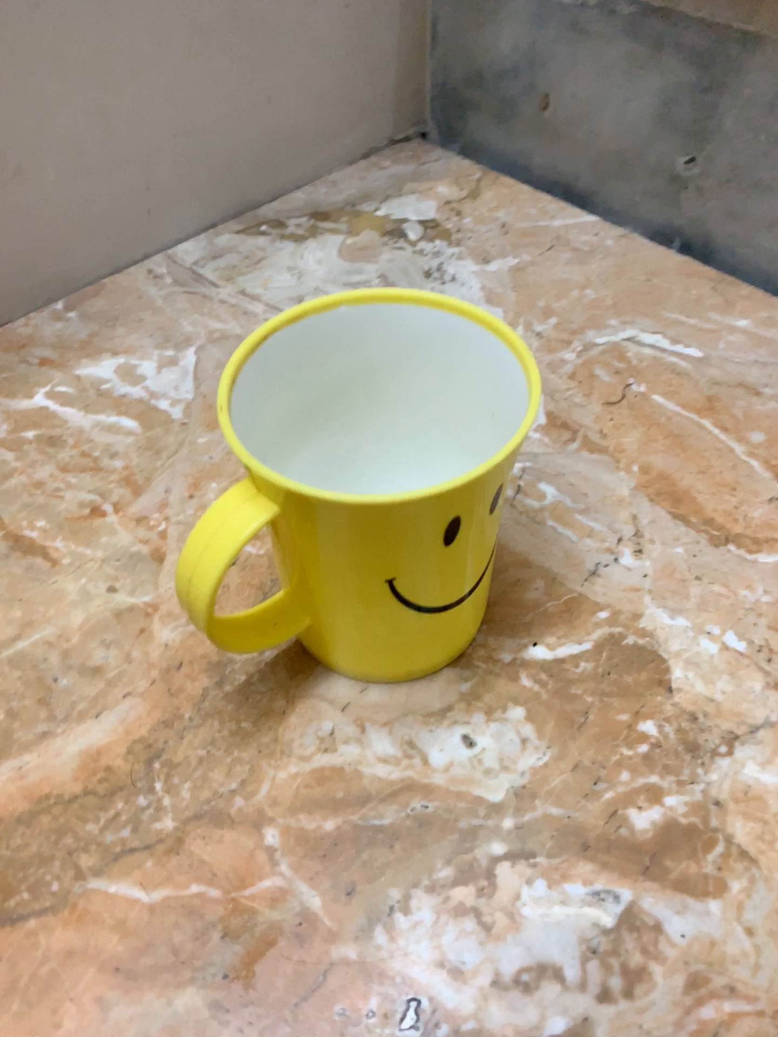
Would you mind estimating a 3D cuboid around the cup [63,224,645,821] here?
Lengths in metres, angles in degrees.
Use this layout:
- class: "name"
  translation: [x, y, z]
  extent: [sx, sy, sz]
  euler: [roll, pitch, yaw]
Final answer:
- class: "cup"
  translation: [-0.004, -0.002, 0.210]
  extent: [0.070, 0.089, 0.110]
  euler: [36, 58, 27]
